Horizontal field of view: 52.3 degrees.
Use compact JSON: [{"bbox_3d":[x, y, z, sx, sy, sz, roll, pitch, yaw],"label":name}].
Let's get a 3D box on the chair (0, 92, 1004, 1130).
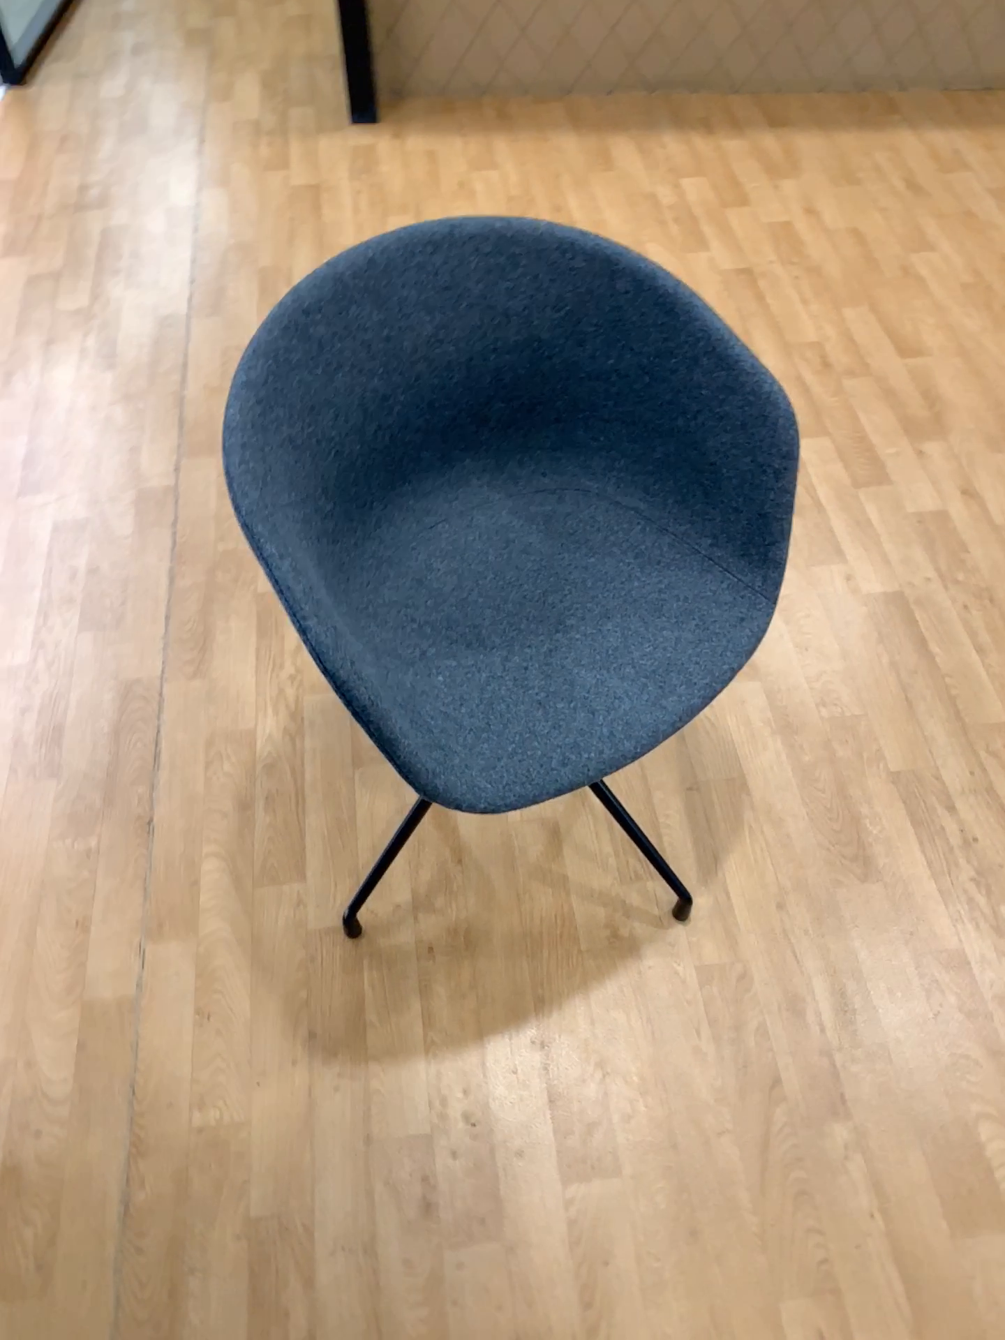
[{"bbox_3d":[0.015,-0.080,1.197,0.711,0.685,0.734,-28,59,-19],"label":"chair"}]
